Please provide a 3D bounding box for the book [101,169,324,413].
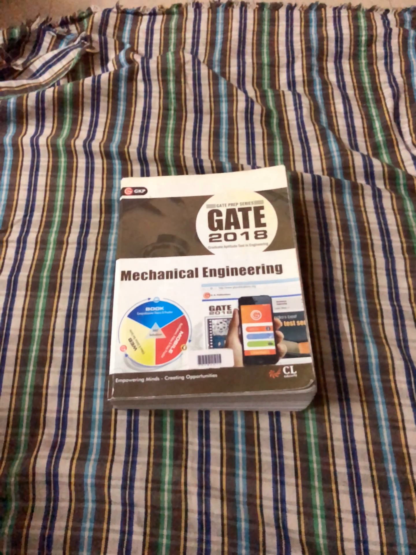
[{"bbox_3d":[0.002,0.009,0.528,0.210,0.076,0.265,-2,64,0],"label":"book"}]
